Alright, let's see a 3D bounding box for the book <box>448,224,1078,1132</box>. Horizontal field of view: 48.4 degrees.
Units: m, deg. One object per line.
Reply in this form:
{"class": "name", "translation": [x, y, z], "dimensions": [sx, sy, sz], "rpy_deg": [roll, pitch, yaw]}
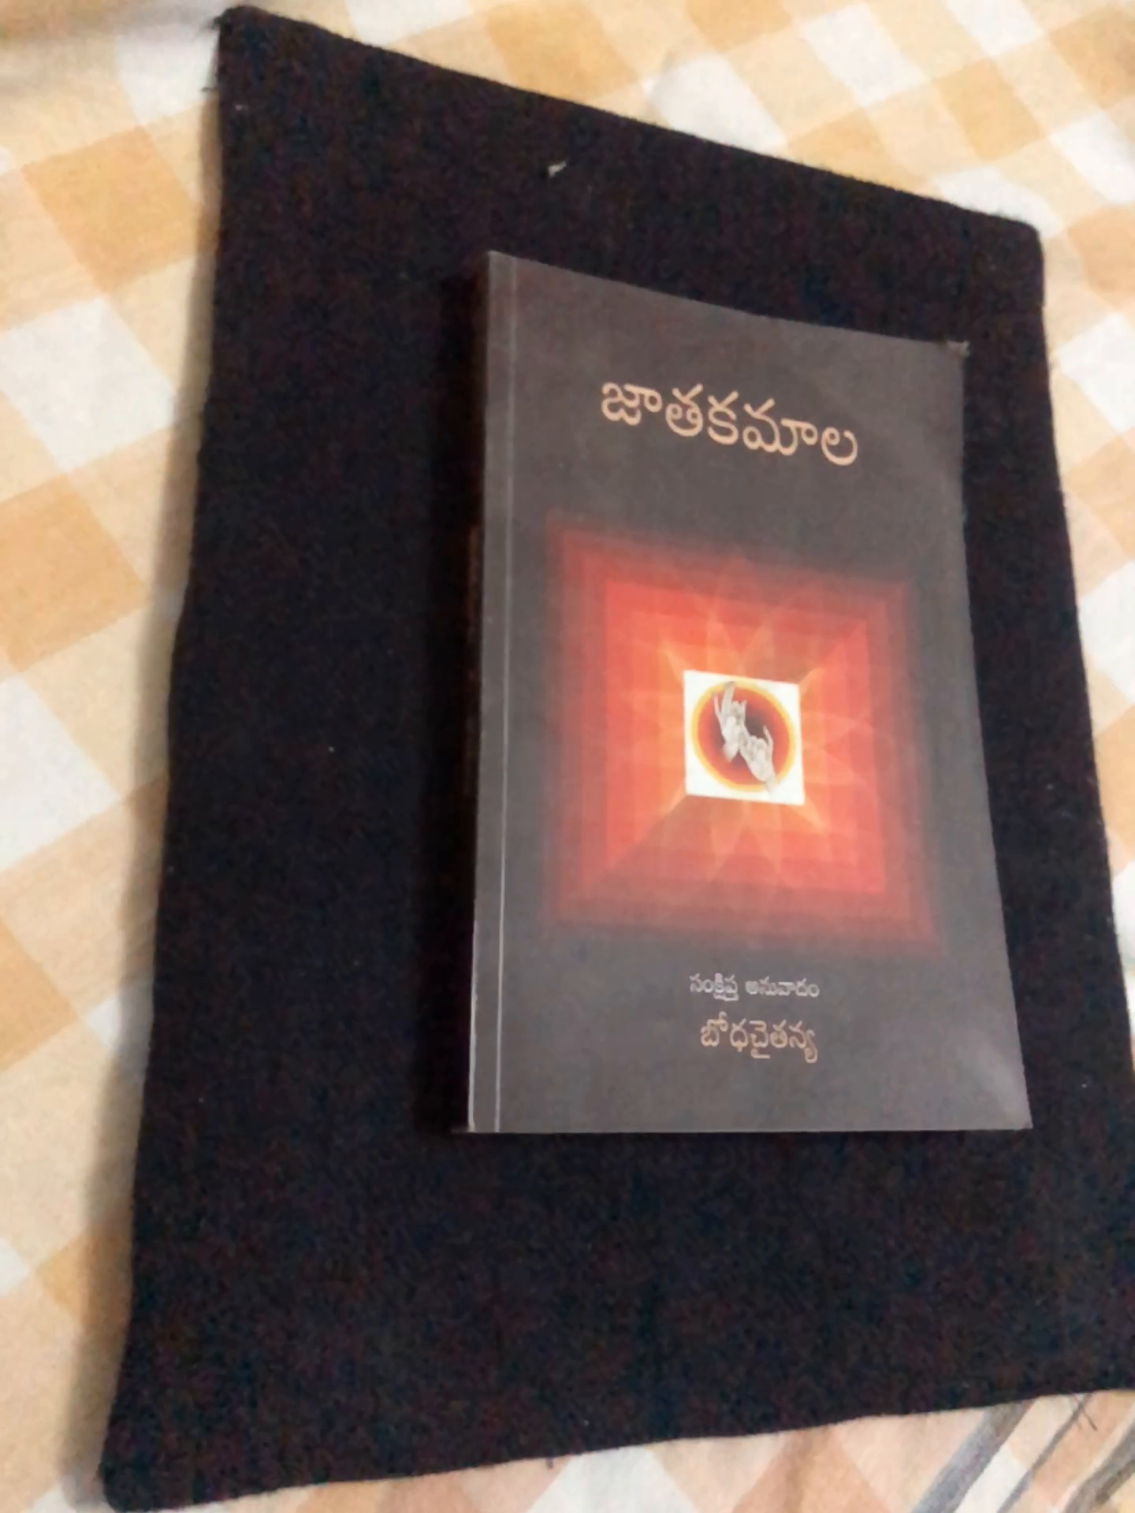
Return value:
{"class": "book", "translation": [0.046, -0.020, 0.304], "dimensions": [0.140, 0.020, 0.210], "rpy_deg": [4, 75, -14]}
